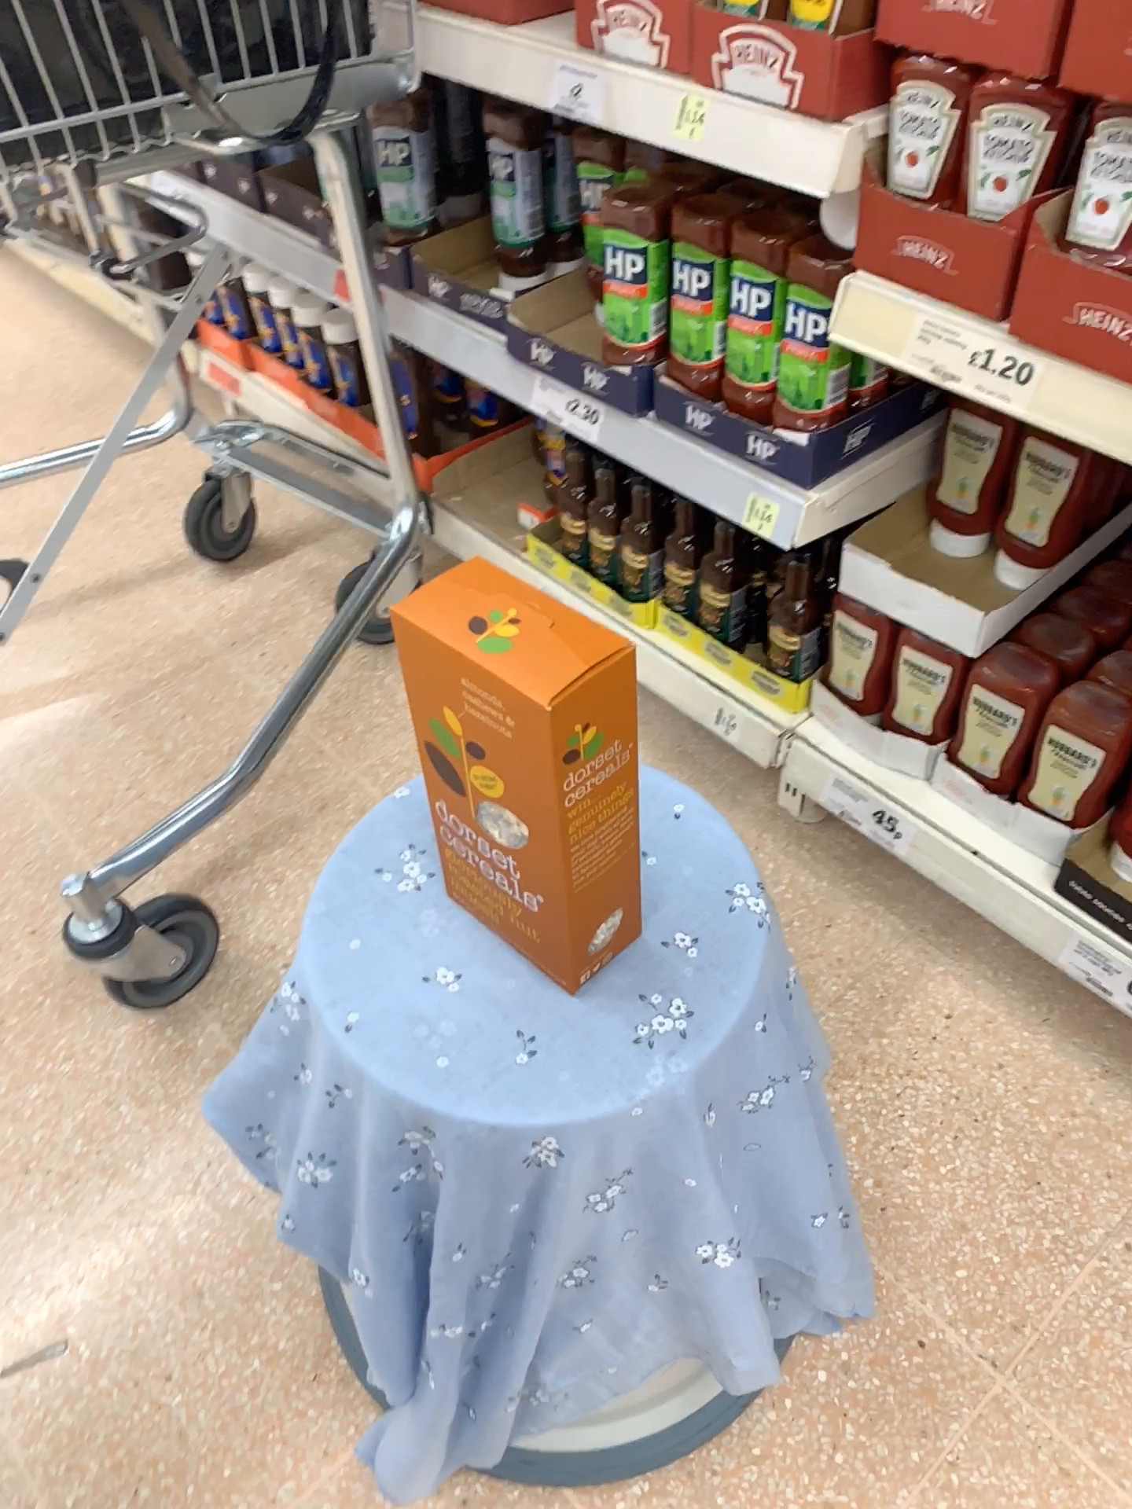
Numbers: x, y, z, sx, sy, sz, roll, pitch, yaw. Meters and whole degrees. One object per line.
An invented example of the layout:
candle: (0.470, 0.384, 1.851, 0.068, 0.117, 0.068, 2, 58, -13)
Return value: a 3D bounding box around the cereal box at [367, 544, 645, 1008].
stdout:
cereal box: (-0.025, 0.018, 0.632, 0.121, 0.228, 0.070, 33, 55, 31)
